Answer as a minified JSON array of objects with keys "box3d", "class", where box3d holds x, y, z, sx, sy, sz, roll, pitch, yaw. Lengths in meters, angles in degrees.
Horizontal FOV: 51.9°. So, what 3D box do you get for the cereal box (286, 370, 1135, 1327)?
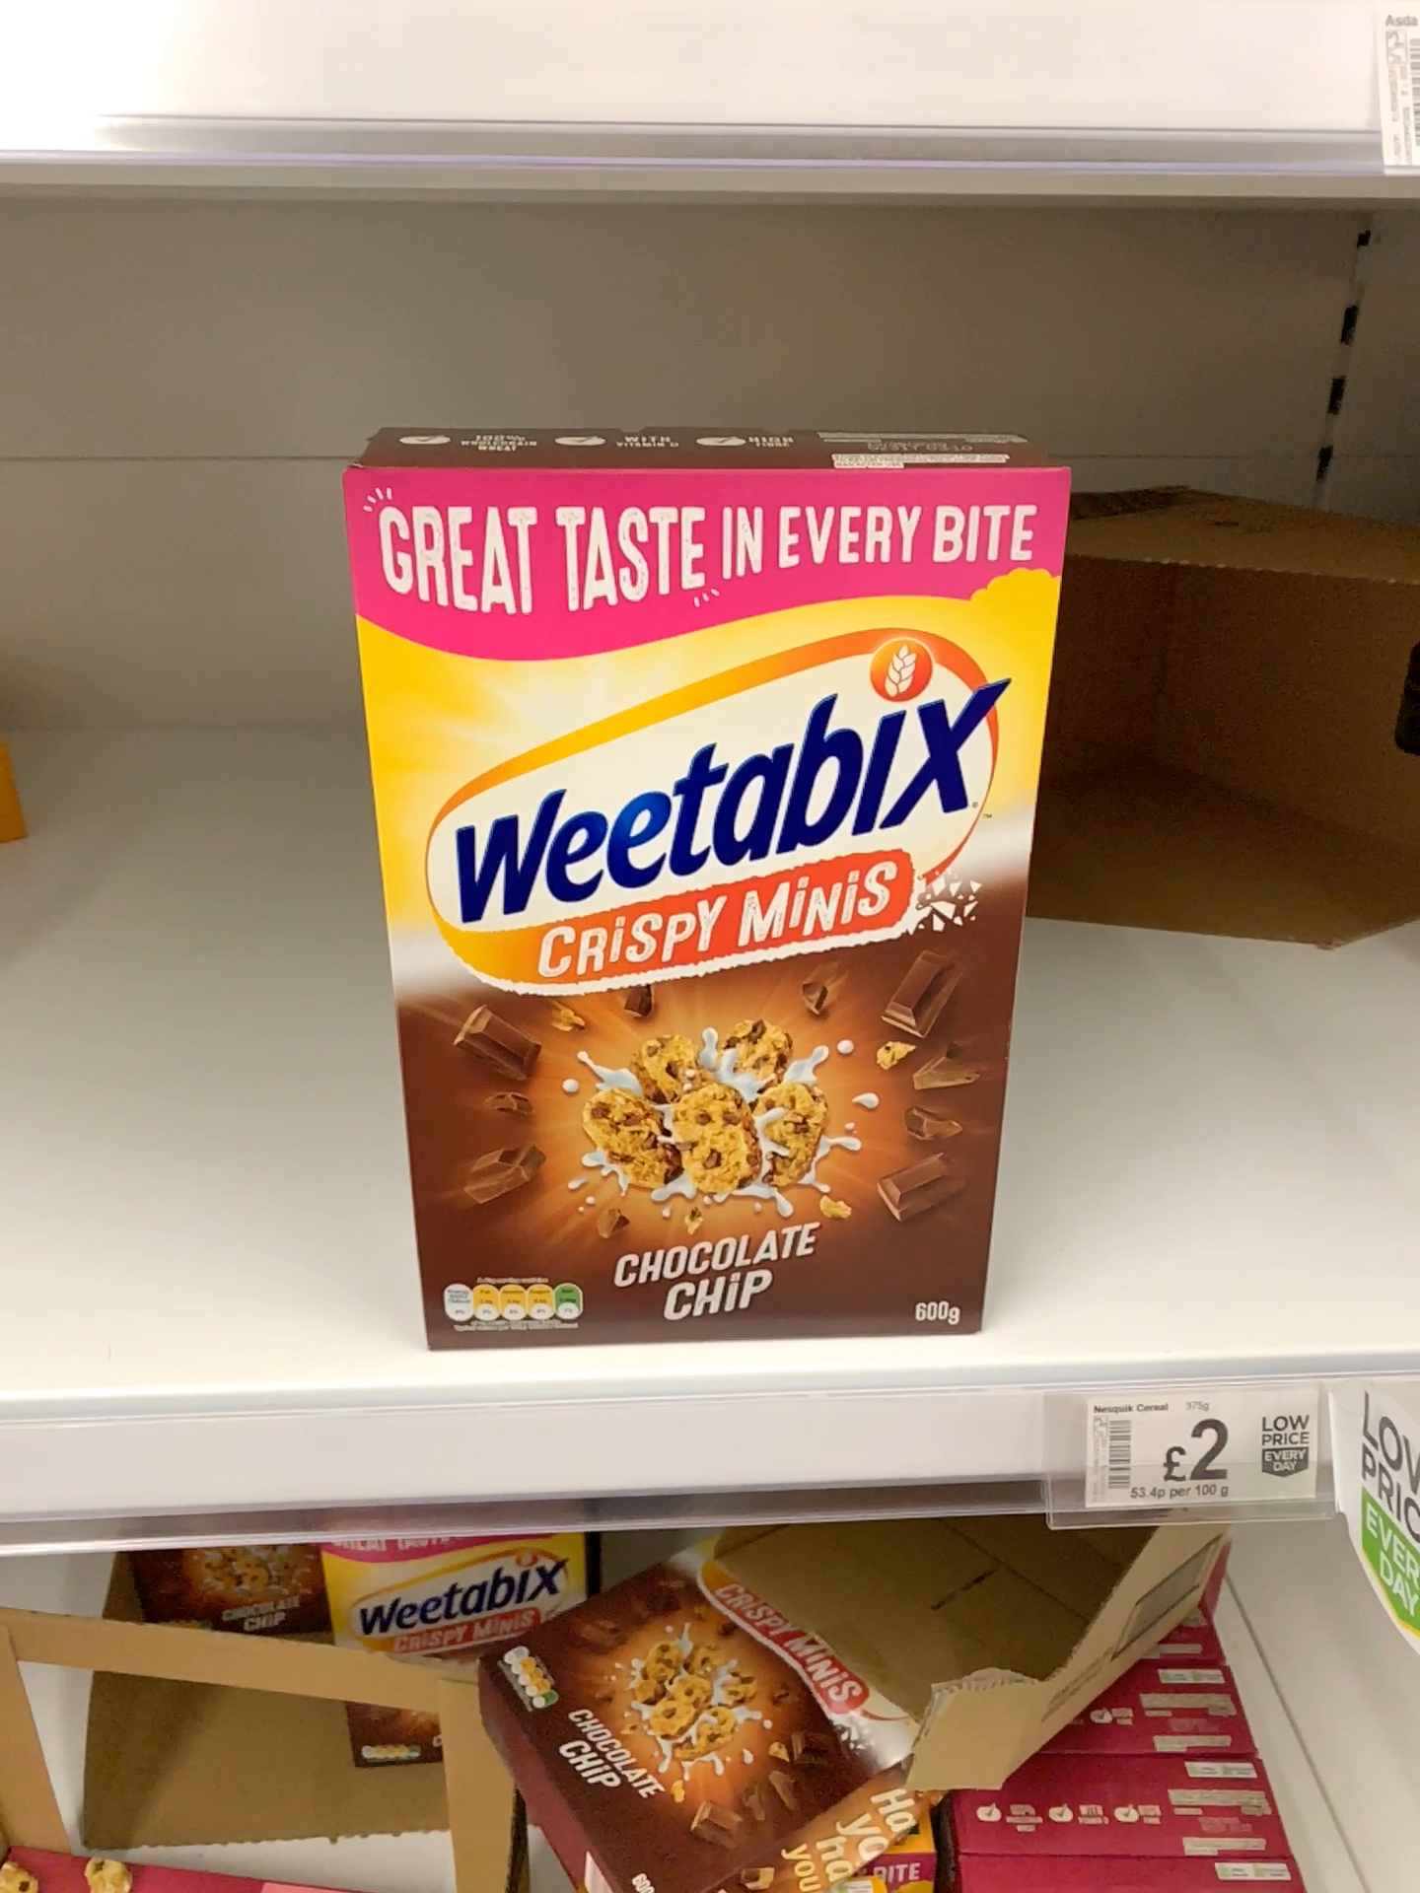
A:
[{"box3d":[-0.001,-0.022,0.454,0.210,0.287,0.071,-1,26,-2],"class":"cereal box"}]
